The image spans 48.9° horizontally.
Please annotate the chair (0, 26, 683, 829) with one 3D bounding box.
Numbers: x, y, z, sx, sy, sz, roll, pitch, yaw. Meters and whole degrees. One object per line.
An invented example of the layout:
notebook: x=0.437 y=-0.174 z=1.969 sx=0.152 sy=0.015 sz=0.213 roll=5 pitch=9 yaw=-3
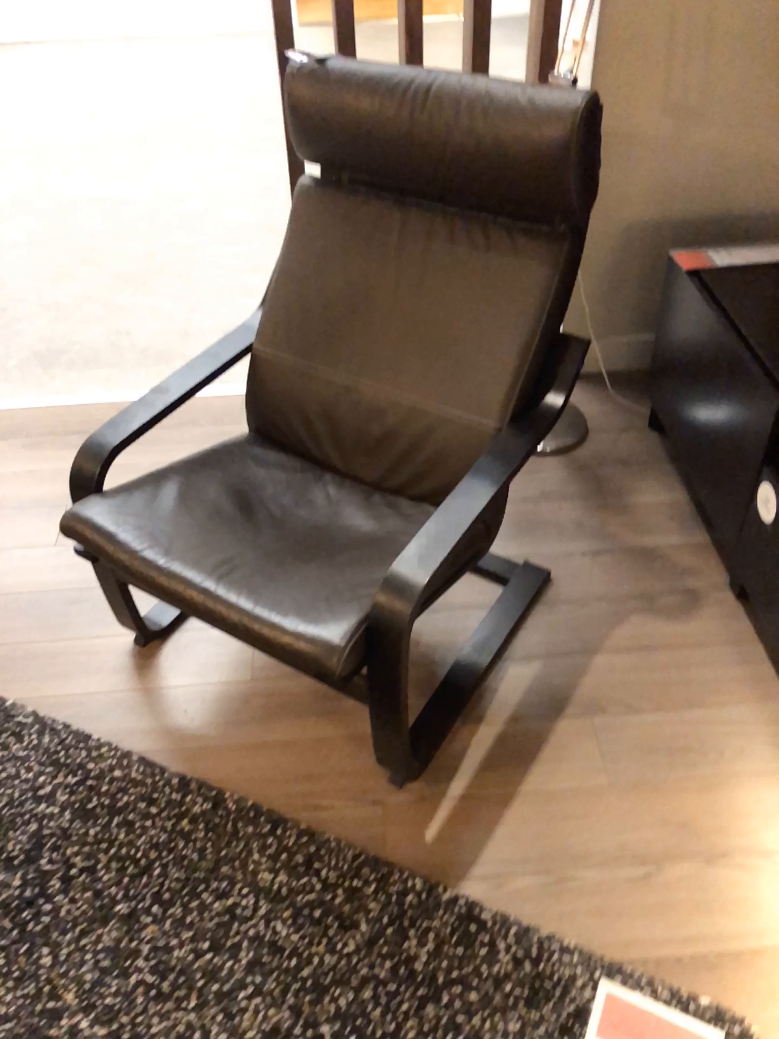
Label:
chair: x=-0.102 y=-0.192 z=1.406 sx=0.781 sy=0.876 sz=0.732 roll=21 pitch=48 yaw=24
